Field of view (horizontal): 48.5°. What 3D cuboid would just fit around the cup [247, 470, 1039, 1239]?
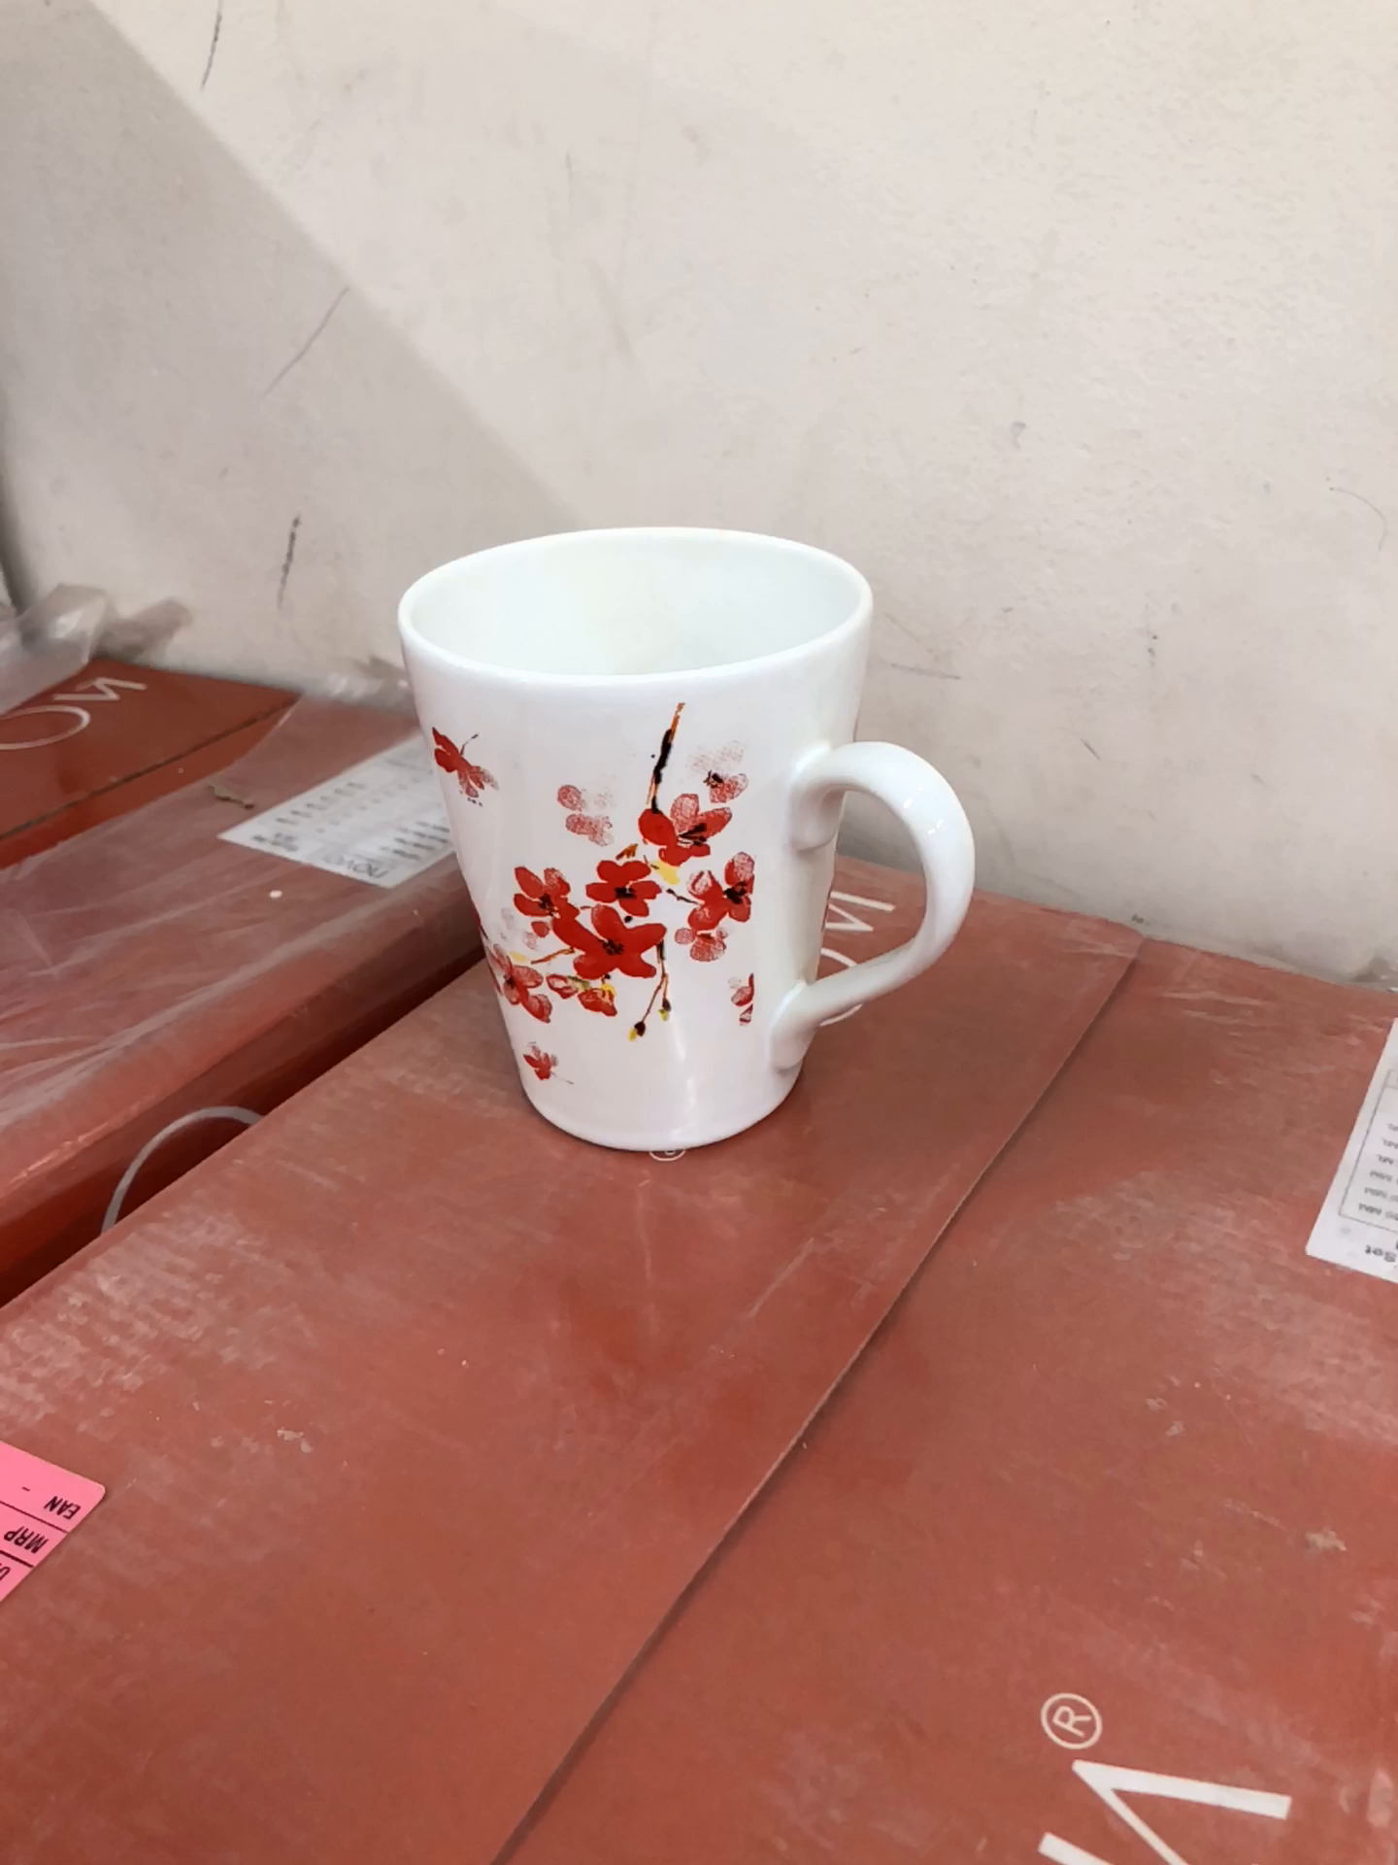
[{"bbox_3d":[-0.006,-0.022,0.289,0.110,0.099,0.081,13,33,25],"label":"cup"}]
